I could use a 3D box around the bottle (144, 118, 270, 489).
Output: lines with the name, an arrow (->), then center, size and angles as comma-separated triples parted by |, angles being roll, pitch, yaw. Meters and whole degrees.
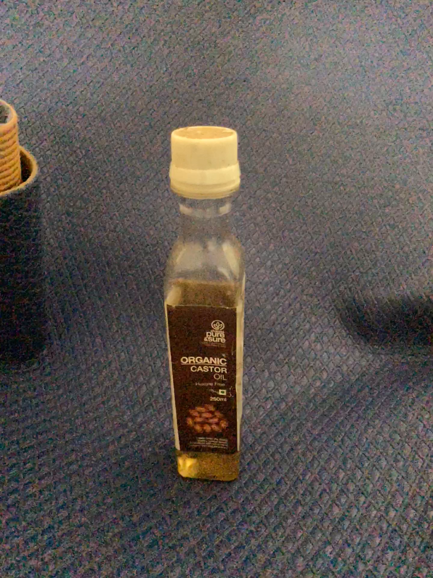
bottle -> -0.001, 0.016, 0.244 | 0.050, 0.198, 0.050 | 0, 27, 0
